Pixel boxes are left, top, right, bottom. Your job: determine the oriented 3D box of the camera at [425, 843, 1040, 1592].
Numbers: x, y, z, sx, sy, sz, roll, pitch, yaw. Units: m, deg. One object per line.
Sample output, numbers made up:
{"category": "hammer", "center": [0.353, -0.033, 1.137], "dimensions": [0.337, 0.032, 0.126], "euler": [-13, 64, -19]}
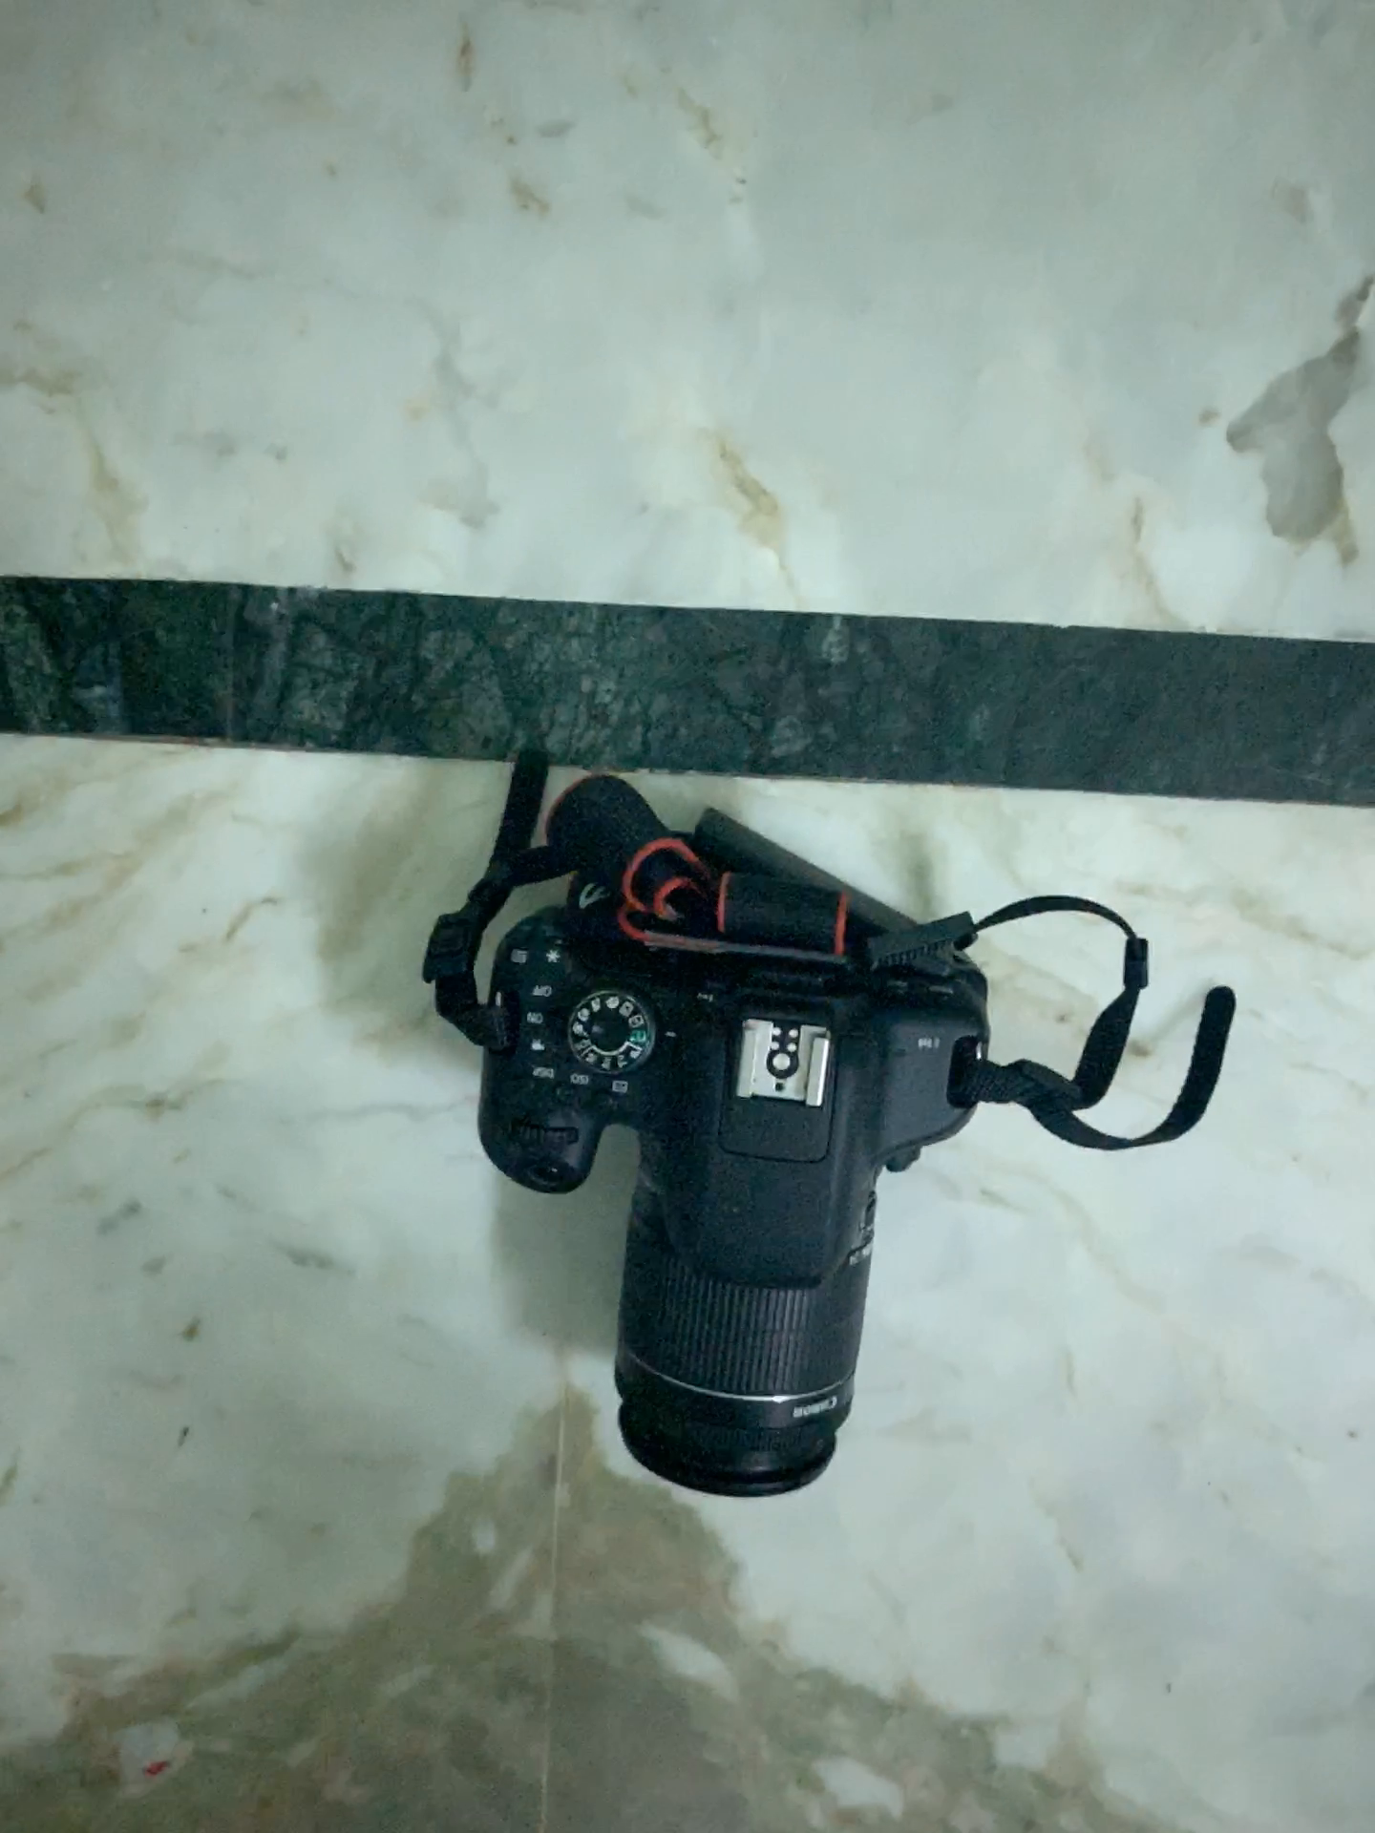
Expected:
{"category": "camera", "center": [0.010, 0.068, 0.375], "dimensions": [0.128, 0.100, 0.160], "euler": [5, 96, 2]}
